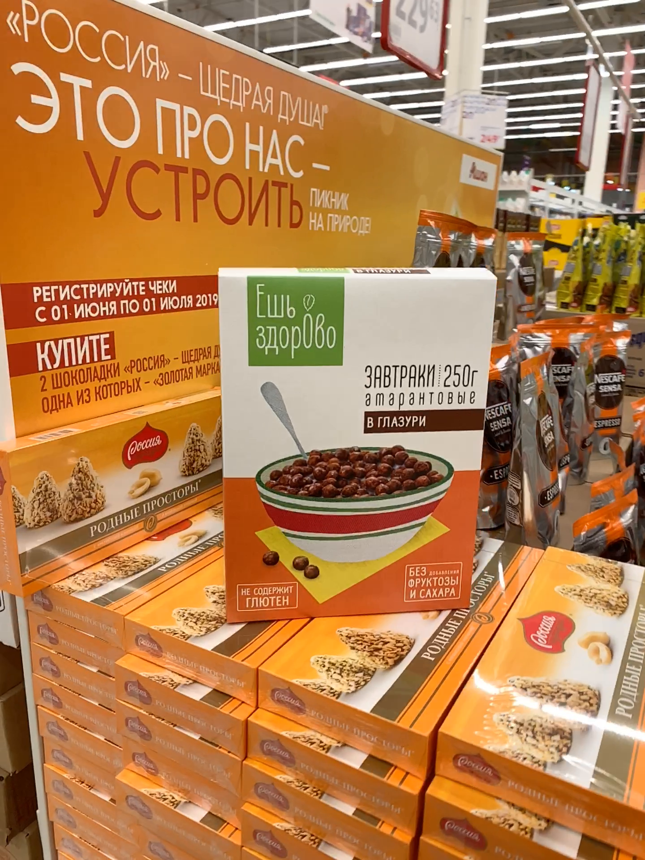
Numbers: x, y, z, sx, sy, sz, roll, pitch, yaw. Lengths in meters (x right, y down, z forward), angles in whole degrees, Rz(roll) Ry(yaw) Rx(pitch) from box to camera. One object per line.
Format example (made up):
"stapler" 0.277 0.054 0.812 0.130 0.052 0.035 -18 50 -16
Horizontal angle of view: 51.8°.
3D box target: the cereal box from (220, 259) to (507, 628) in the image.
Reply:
"cereal box" 0.022 0.010 0.492 0.190 0.259 0.060 -1 15 -8
